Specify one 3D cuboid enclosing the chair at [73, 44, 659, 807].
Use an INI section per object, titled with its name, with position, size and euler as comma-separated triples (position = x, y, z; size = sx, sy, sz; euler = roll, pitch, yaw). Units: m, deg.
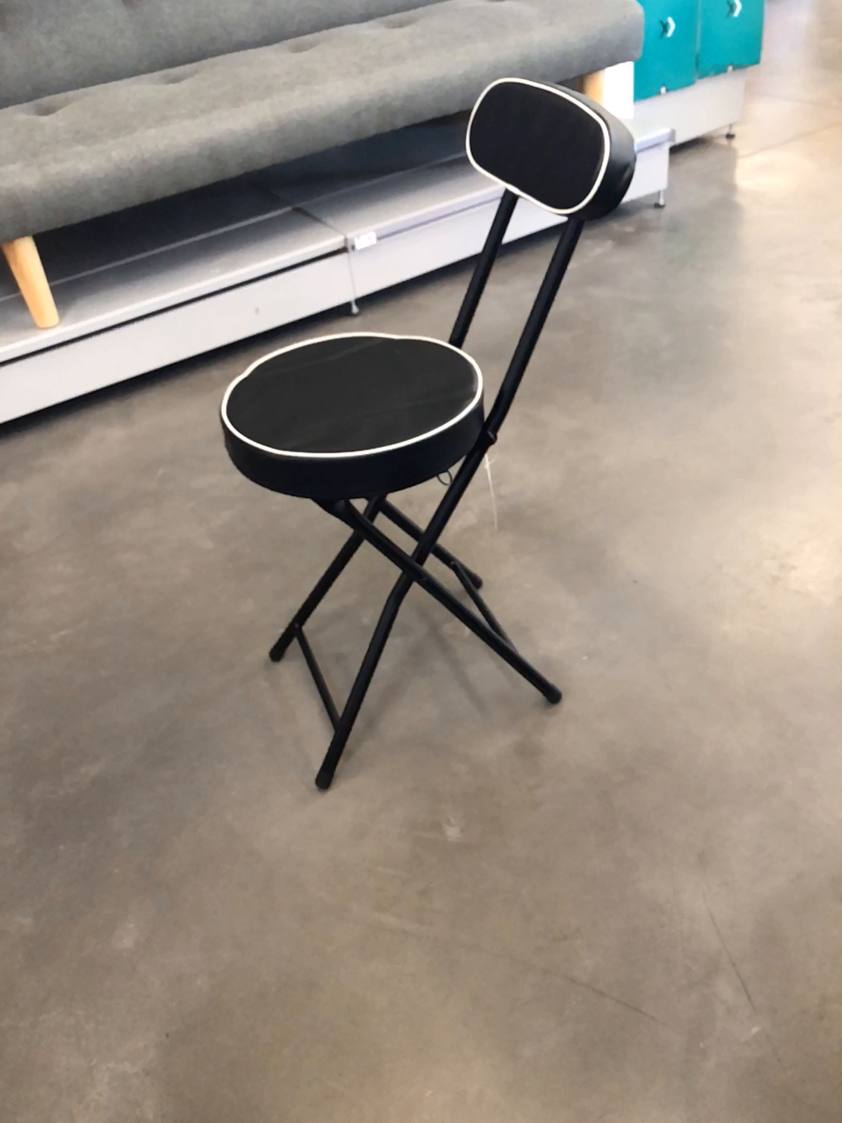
[chair]
position = -0.029, -0.147, 1.153
size = 0.511, 0.756, 0.341
euler = -19, 39, -11
